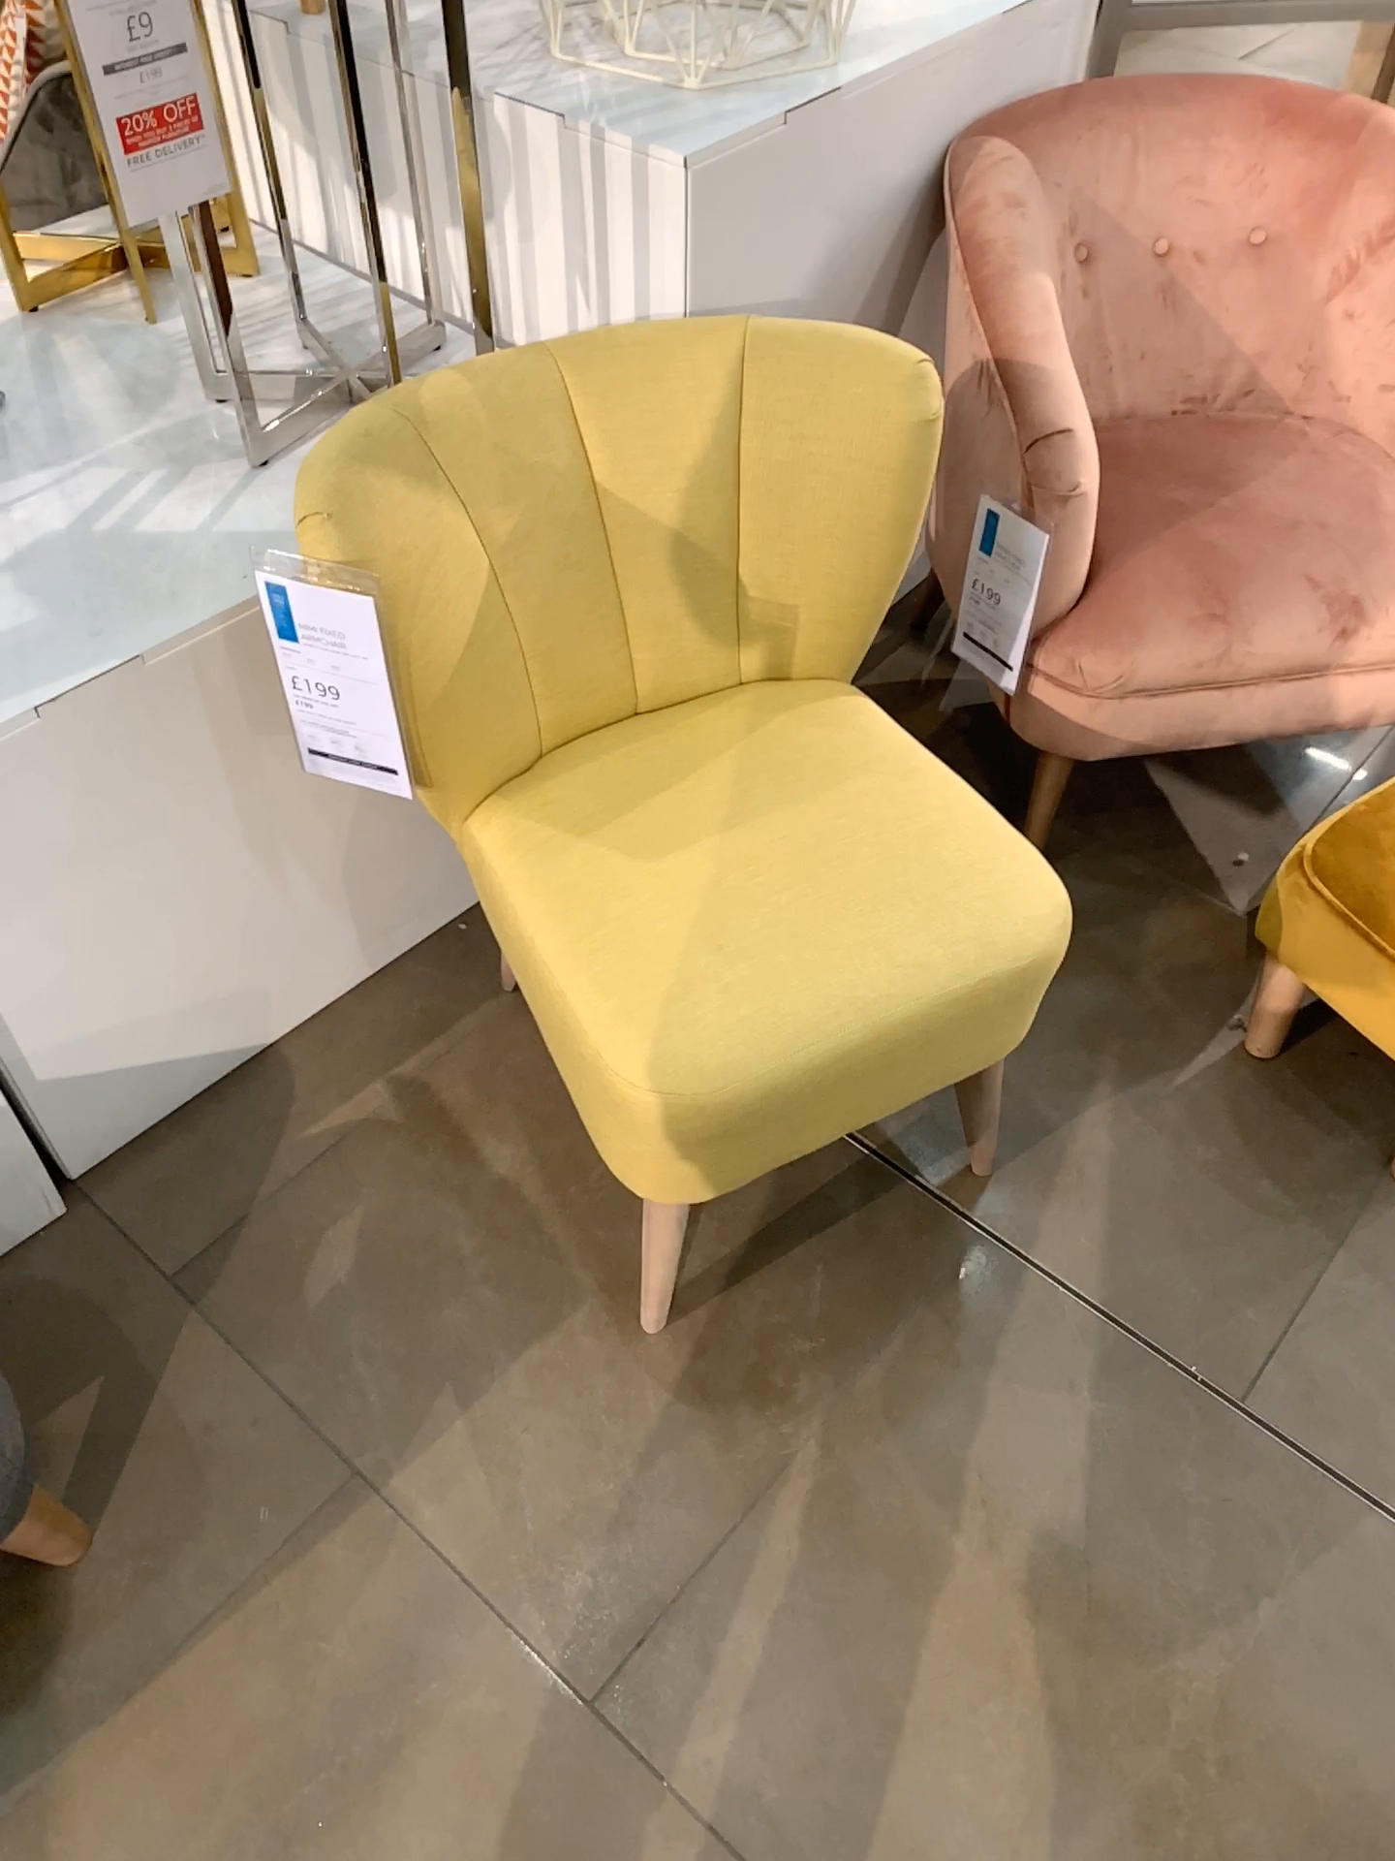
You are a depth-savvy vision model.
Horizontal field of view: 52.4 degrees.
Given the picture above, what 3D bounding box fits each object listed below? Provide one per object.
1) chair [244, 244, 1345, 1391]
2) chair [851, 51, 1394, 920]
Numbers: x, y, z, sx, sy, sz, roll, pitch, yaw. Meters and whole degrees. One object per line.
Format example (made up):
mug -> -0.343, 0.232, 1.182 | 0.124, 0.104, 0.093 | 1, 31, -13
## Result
chair -> 0.038, -0.109, 1.307 | 0.608, 0.696, 0.590 | -20, 51, -17
chair -> 0.608, -0.539, 1.754 | 0.617, 0.766, 0.591 | -11, 49, -10
